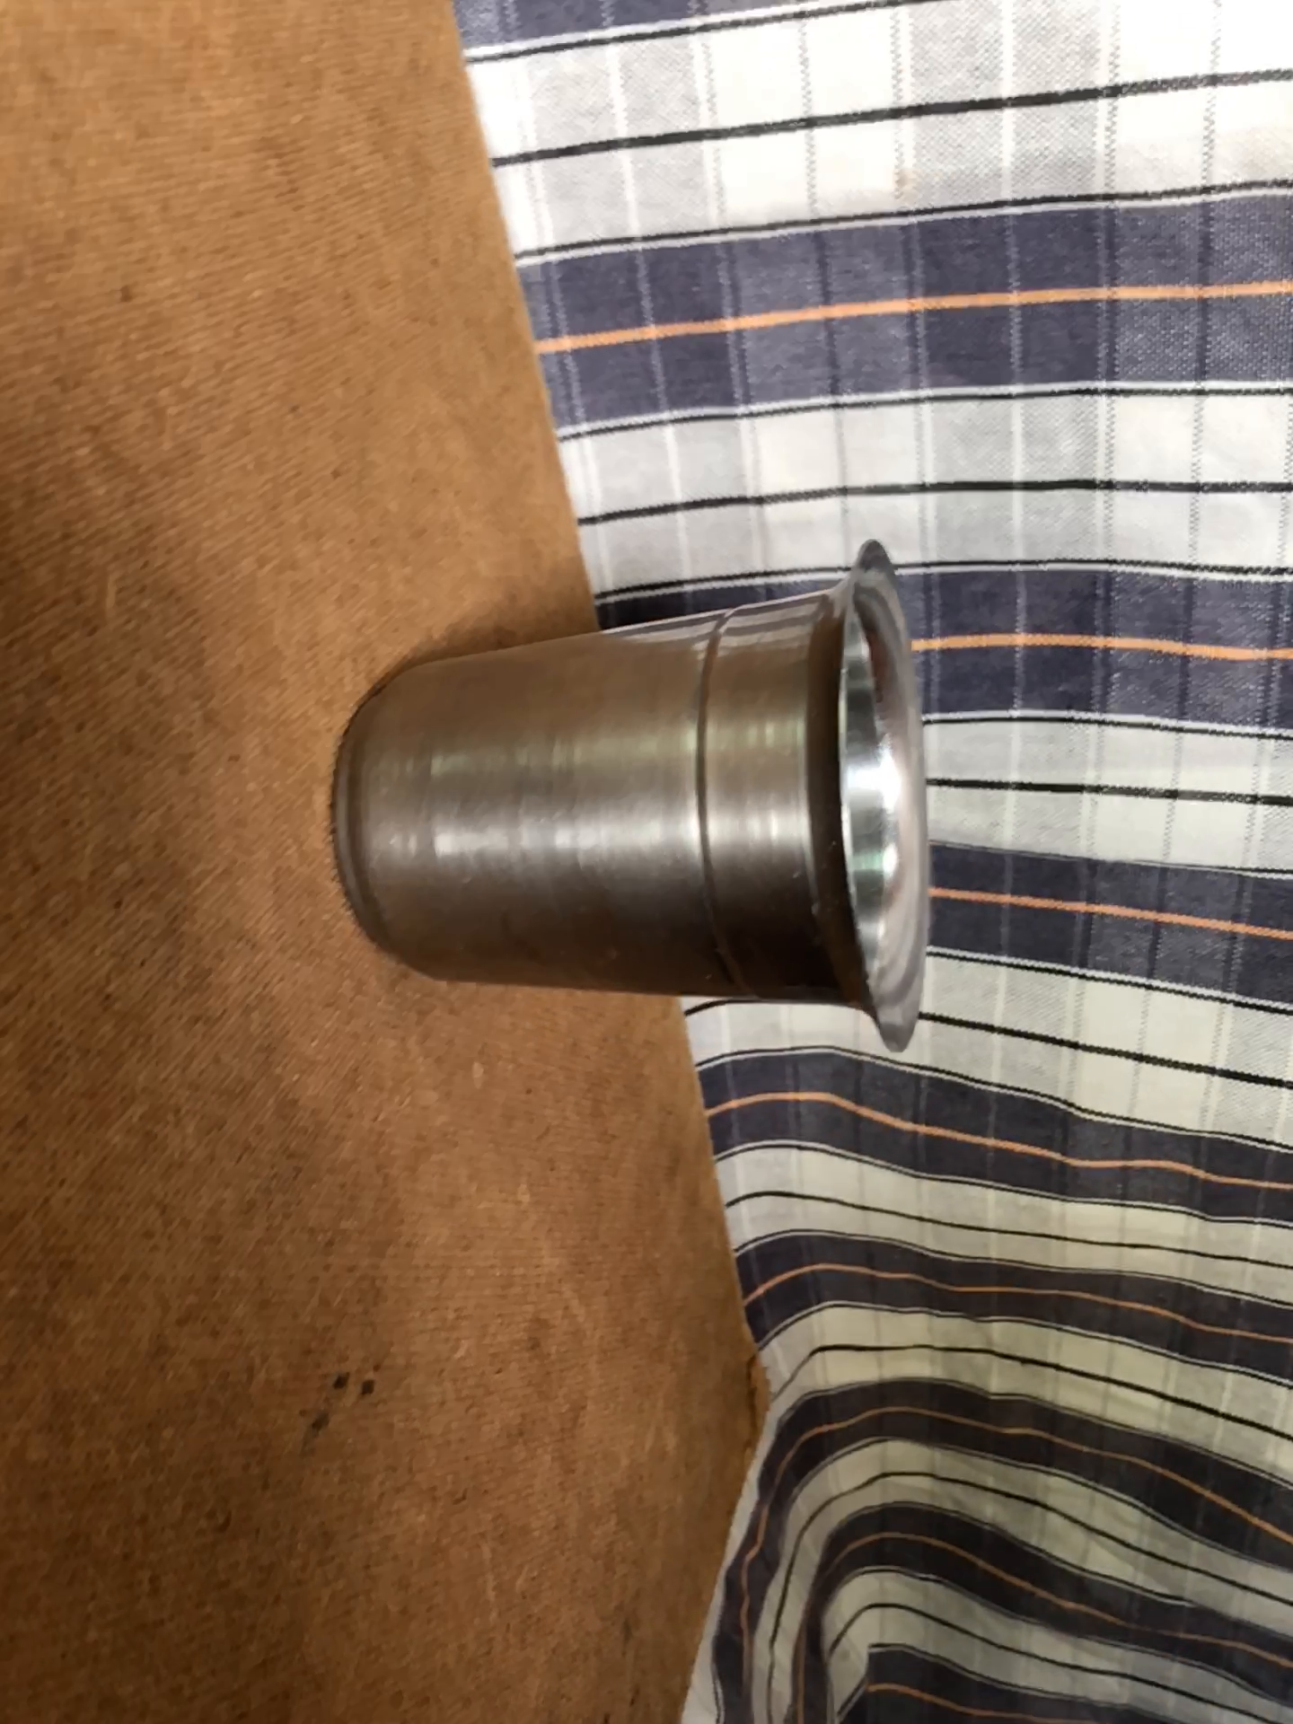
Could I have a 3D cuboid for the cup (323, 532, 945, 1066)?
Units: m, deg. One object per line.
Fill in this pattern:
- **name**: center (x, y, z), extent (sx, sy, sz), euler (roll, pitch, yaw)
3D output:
- **cup**: center (0.003, -0.007, 0.237), extent (0.070, 0.080, 0.070), euler (-3, 90, -72)
